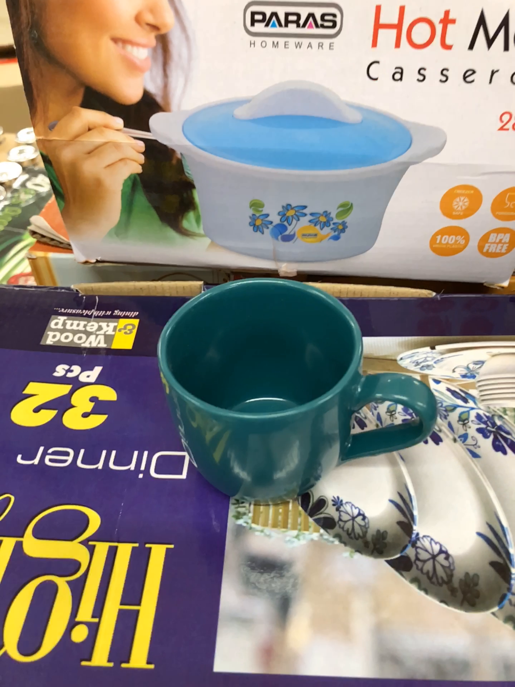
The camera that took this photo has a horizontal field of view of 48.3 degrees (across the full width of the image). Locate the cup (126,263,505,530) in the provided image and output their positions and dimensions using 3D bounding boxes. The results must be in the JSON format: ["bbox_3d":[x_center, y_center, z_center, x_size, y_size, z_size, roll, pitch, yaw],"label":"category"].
[{"bbox_3d":[0.015,0.015,0.175,0.090,0.050,0.060,2,44,2],"label":"cup"}]
